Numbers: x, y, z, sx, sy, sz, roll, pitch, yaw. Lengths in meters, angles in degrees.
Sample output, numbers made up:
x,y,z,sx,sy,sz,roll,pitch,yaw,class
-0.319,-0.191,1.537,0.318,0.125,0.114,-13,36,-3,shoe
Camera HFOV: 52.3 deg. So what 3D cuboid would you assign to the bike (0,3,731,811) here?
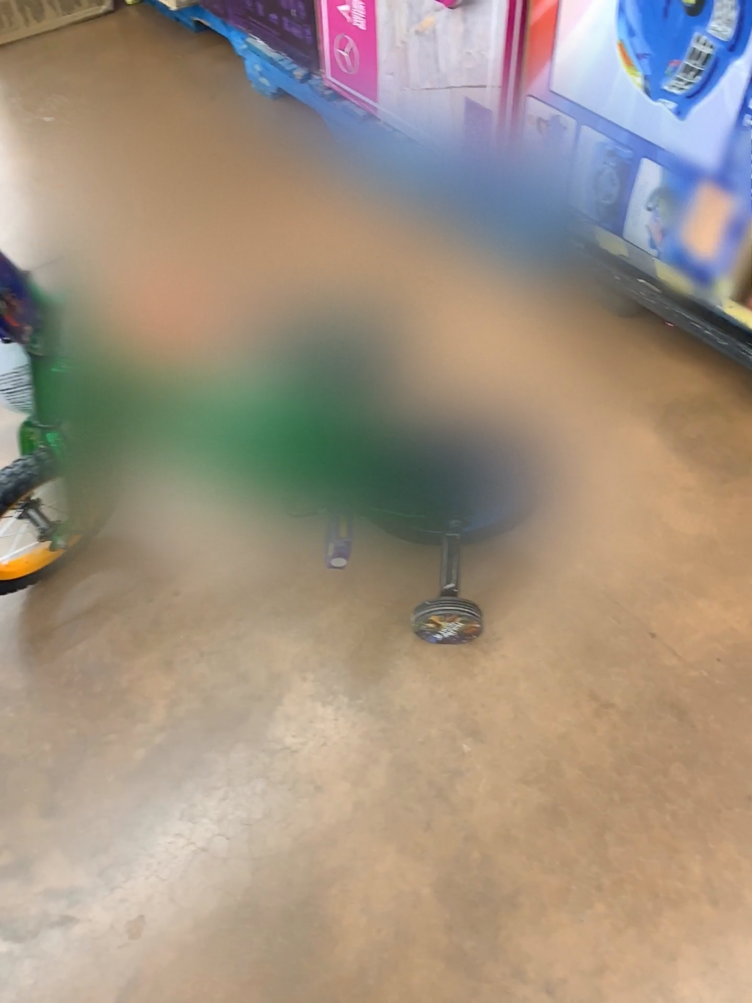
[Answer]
x,y,z,sx,sy,sz,roll,pitch,yaw,class
-0.166,-0.072,0.902,0.828,0.677,0.533,-5,53,-2,bike
